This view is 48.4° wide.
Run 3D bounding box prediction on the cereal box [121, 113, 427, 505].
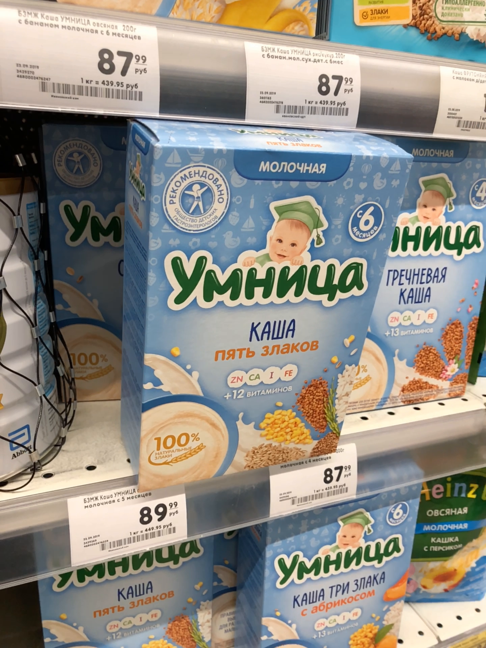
[{"bbox_3d":[0.005,-0.005,0.320,0.140,0.209,0.060,-5,31,-22],"label":"cereal box"}]
